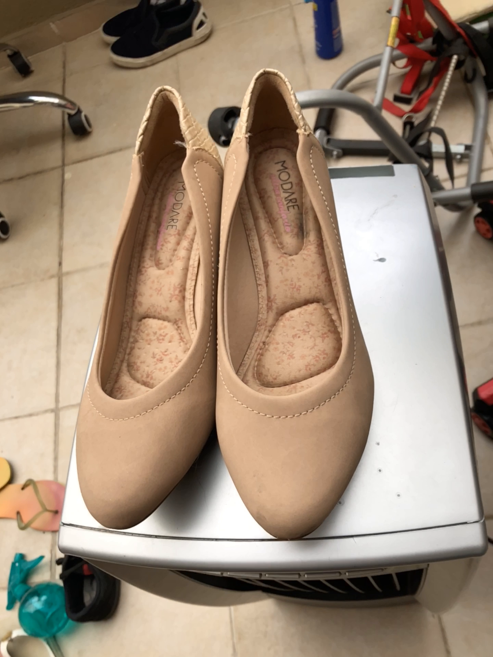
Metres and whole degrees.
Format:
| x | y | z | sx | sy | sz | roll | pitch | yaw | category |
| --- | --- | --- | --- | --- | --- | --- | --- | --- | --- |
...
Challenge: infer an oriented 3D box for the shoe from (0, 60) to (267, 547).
| x | y | z | sx | sy | sz | roll | pitch | yaw | category |
| --- | --- | --- | --- | --- | --- | --- | --- | --- | --- |
| -0.053 | -0.010 | 0.317 | 0.090 | 0.120 | 0.244 | -1 | 67 | 15 | shoe |

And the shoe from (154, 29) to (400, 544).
| x | y | z | sx | sy | sz | roll | pitch | yaw | category |
| --- | --- | --- | --- | --- | --- | --- | --- | --- | --- |
| 0.024 | -0.016 | 0.298 | 0.090 | 0.120 | 0.245 | -5 | 66 | 13 | shoe |
